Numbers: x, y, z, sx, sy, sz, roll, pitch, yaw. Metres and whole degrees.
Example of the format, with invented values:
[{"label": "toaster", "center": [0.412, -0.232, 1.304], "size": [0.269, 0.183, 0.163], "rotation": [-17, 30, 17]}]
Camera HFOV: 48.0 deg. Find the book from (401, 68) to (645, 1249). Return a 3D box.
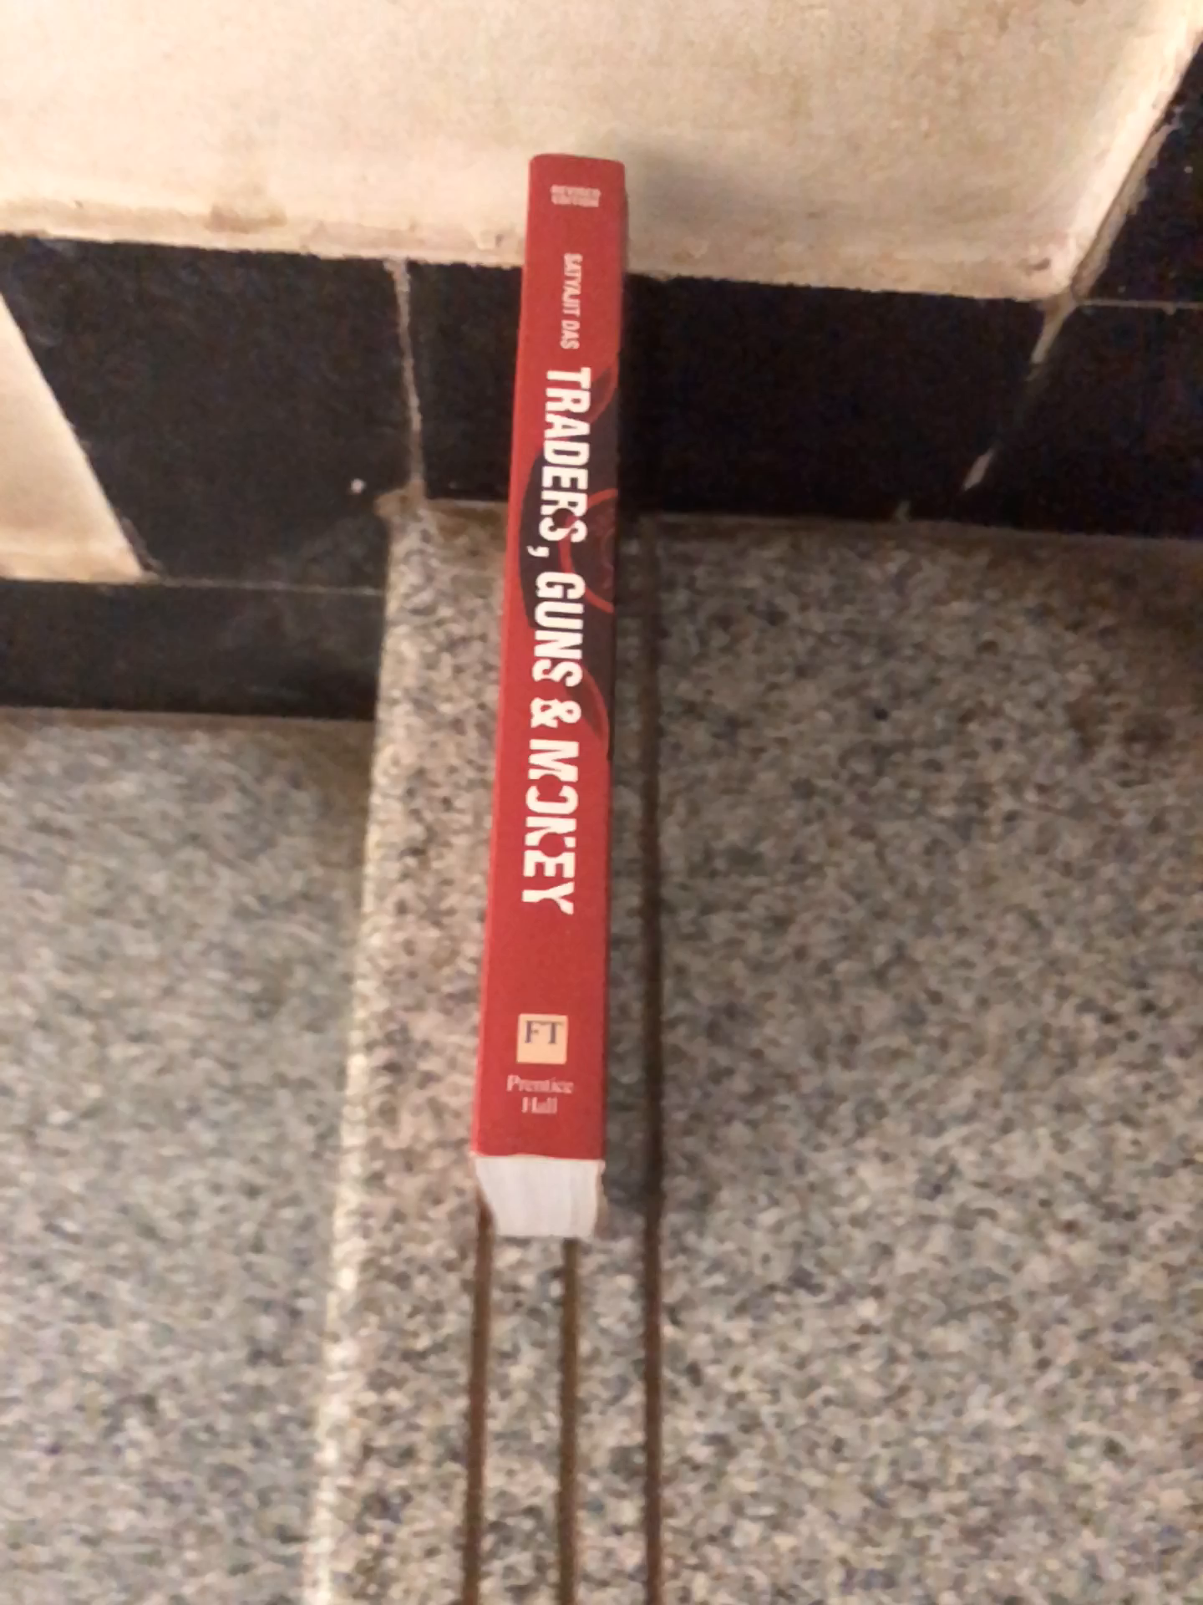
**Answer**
[{"label": "book", "center": [-0.009, -0.023, 0.316], "size": [0.030, 0.150, 0.230], "rotation": [2, 67, 2]}]
